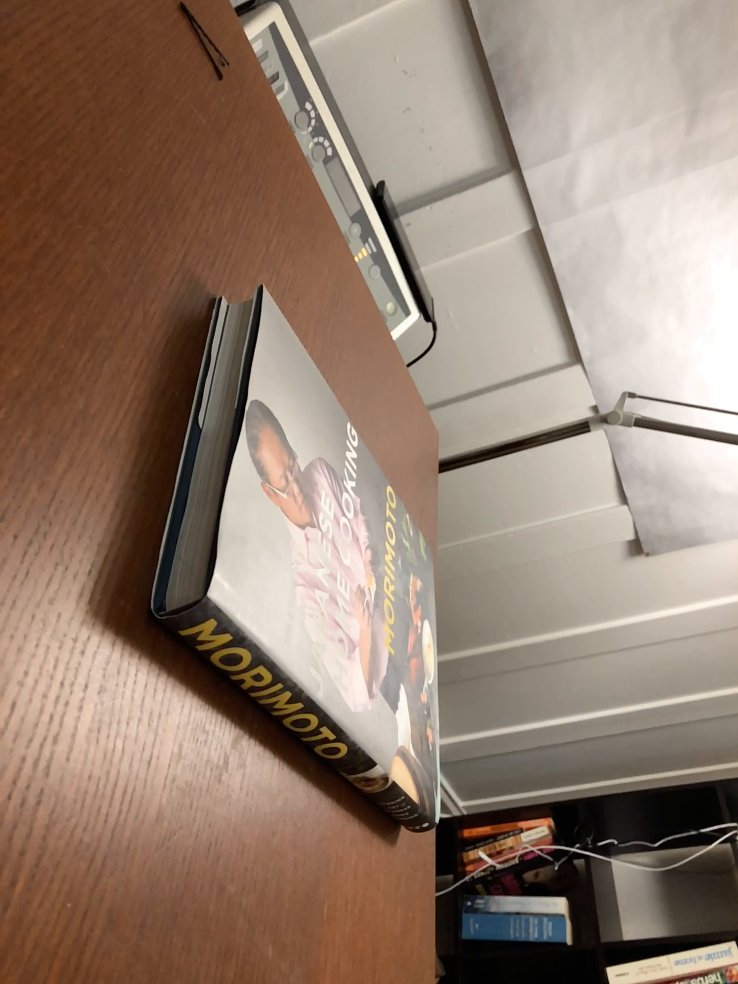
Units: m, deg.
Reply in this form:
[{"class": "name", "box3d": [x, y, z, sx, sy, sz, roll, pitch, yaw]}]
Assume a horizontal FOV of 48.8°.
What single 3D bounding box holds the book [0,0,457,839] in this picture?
[{"class": "book", "box3d": [-0.035, -0.049, 0.344, 0.221, 0.030, 0.300, -70, 141, -60]}]
